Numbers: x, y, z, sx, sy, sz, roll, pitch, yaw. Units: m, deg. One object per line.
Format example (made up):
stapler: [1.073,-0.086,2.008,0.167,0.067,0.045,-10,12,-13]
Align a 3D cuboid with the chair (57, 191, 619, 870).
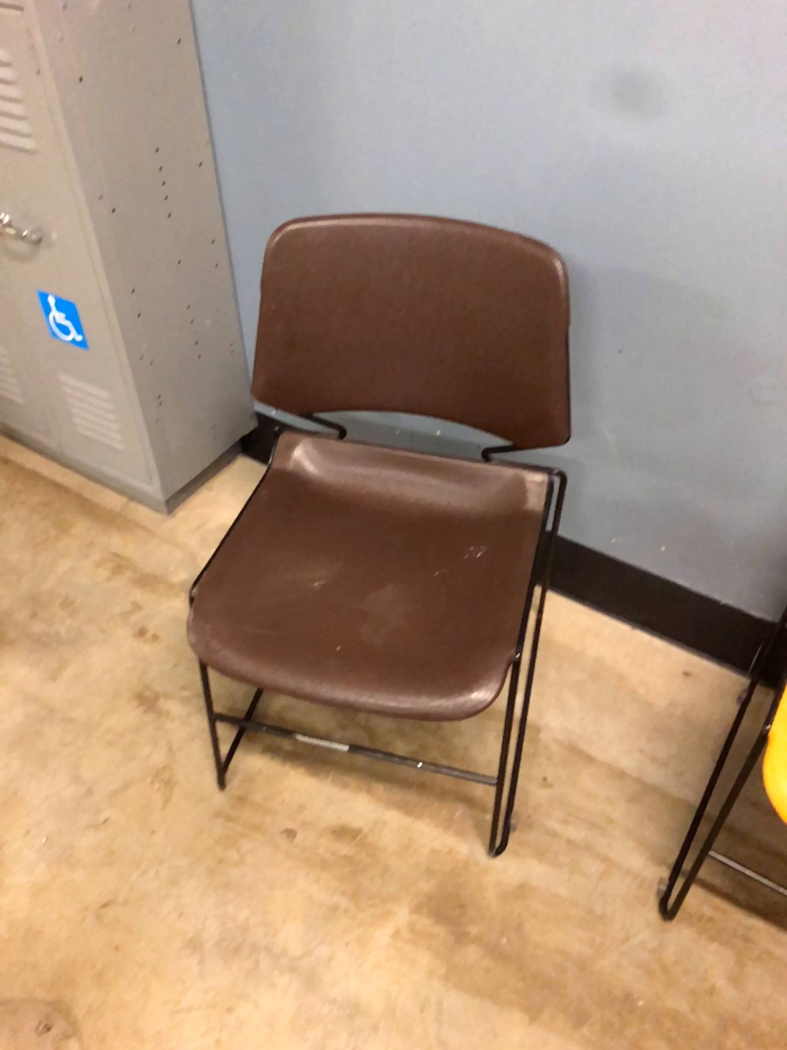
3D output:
chair: [-0.014,0.017,1.268,0.516,0.751,0.548,10,45,11]
